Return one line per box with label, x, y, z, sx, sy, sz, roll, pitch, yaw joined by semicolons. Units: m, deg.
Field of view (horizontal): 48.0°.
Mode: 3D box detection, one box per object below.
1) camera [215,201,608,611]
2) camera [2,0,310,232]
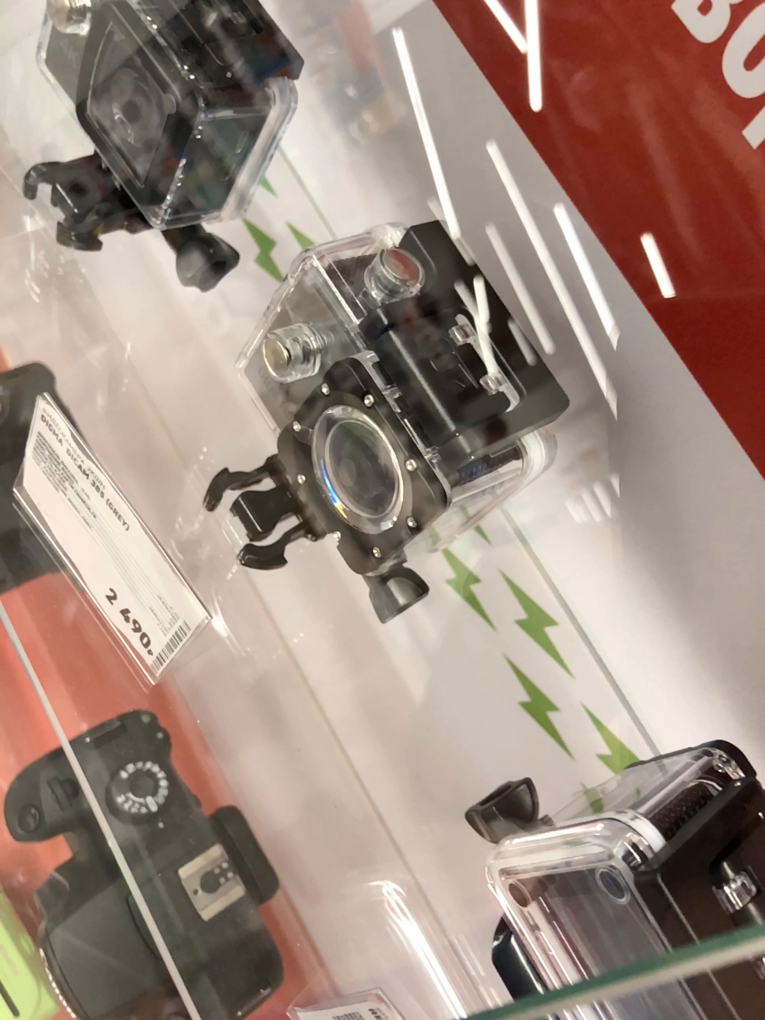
camera;0.004;-0.026;0.218;0.048;0.055;0.077;-24;77;-36
camera;-0.061;-0.119;0.225;0.036;0.046;0.072;-28;79;-41
